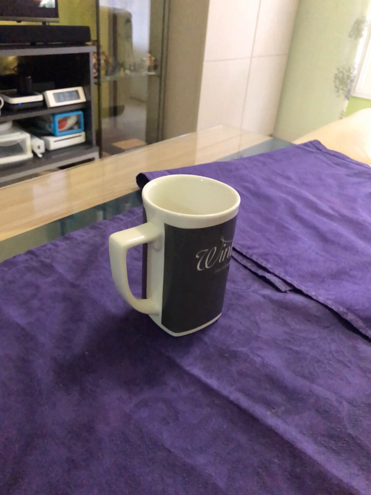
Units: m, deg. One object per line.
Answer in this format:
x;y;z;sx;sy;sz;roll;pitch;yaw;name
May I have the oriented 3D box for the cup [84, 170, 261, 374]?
-0.012;0.013;0.314;0.100;0.109;0.070;-19;39;-34;cup
